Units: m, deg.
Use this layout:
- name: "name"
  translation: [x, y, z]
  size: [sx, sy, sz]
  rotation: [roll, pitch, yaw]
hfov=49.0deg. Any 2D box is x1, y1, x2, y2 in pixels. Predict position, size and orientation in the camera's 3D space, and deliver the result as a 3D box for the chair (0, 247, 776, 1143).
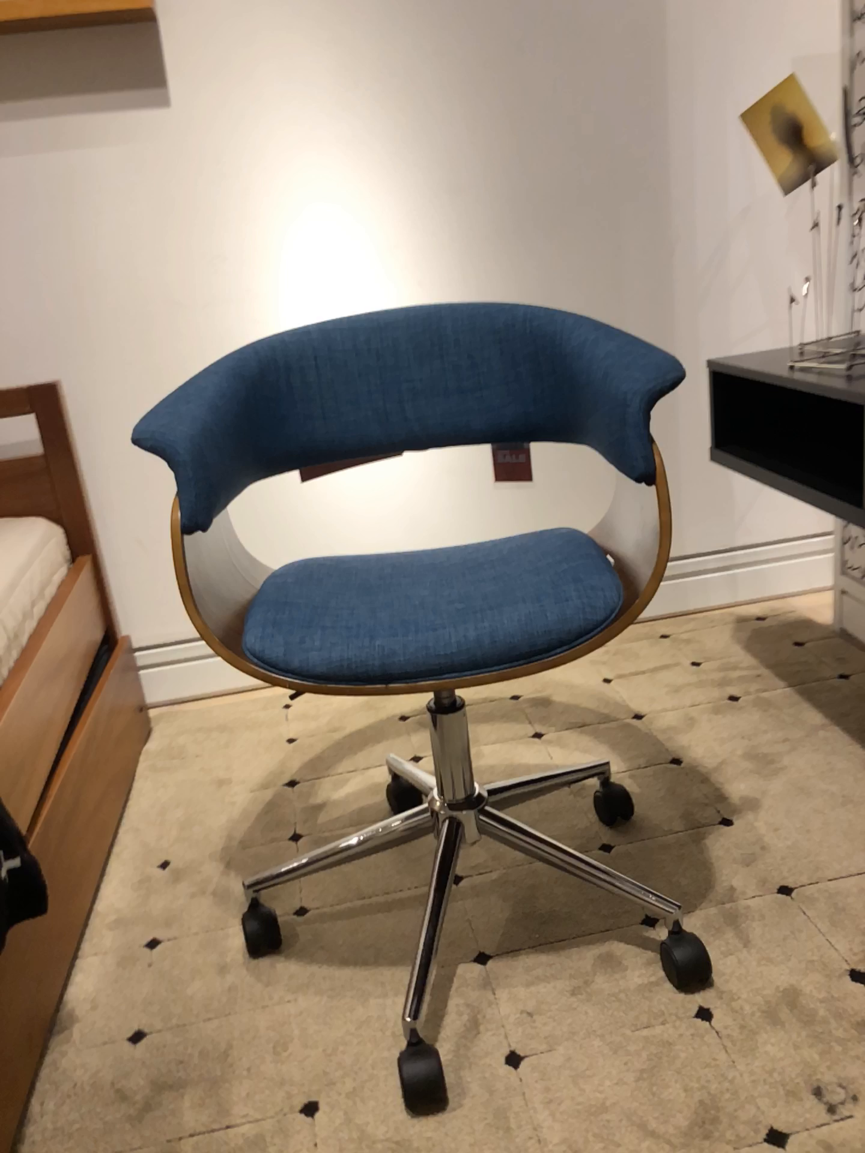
- name: "chair"
  translation: [-0.027, 0.046, 1.156]
  size: [0.610, 0.776, 0.674]
  rotation: [-8, 19, -3]
